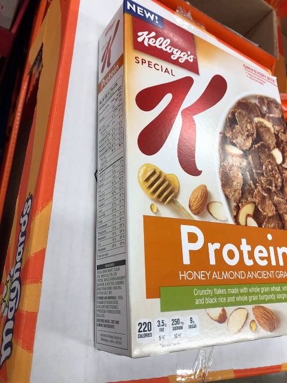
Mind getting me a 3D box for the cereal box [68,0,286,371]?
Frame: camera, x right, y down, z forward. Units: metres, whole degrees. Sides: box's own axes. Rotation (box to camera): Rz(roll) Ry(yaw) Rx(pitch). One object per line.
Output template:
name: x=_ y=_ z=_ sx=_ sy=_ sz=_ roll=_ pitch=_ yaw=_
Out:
cereal box: x=0.050 y=-0.018 z=0.266 sx=0.201 sy=0.060 sz=0.260 roll=9 pitch=69 yaw=-31
